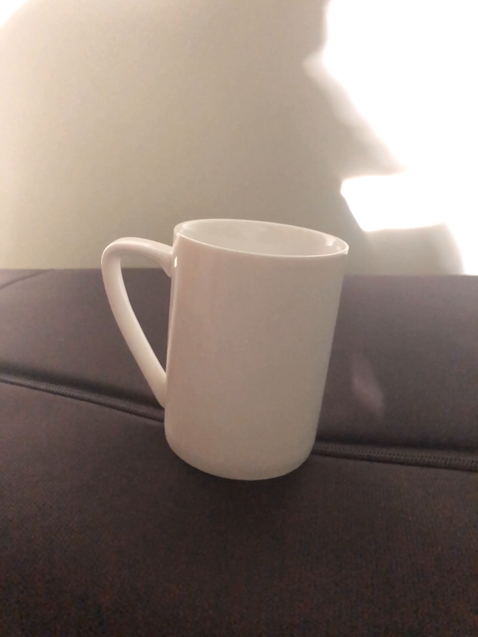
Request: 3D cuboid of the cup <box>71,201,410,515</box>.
[{"bbox_3d":[0.001,0.002,0.239,0.108,0.090,0.097,16,20,27],"label":"cup"}]
